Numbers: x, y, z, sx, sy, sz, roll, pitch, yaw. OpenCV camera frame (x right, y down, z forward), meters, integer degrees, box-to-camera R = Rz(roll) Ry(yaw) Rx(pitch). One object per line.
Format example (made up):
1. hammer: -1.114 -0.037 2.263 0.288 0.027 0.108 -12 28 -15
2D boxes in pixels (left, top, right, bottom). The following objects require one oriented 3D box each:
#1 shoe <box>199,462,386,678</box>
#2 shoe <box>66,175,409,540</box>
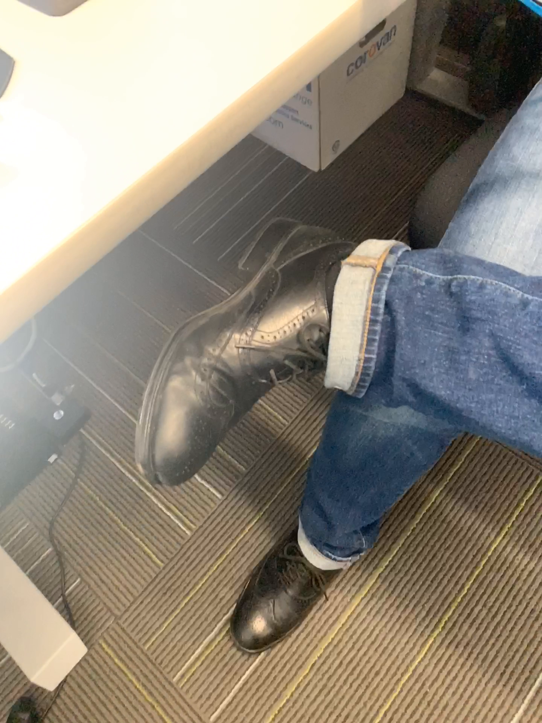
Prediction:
1. shoe: 0.038 0.302 0.817 0.112 0.104 0.274 35 71 21
2. shoe: -0.010 -0.007 0.448 0.091 0.111 0.274 34 71 24
